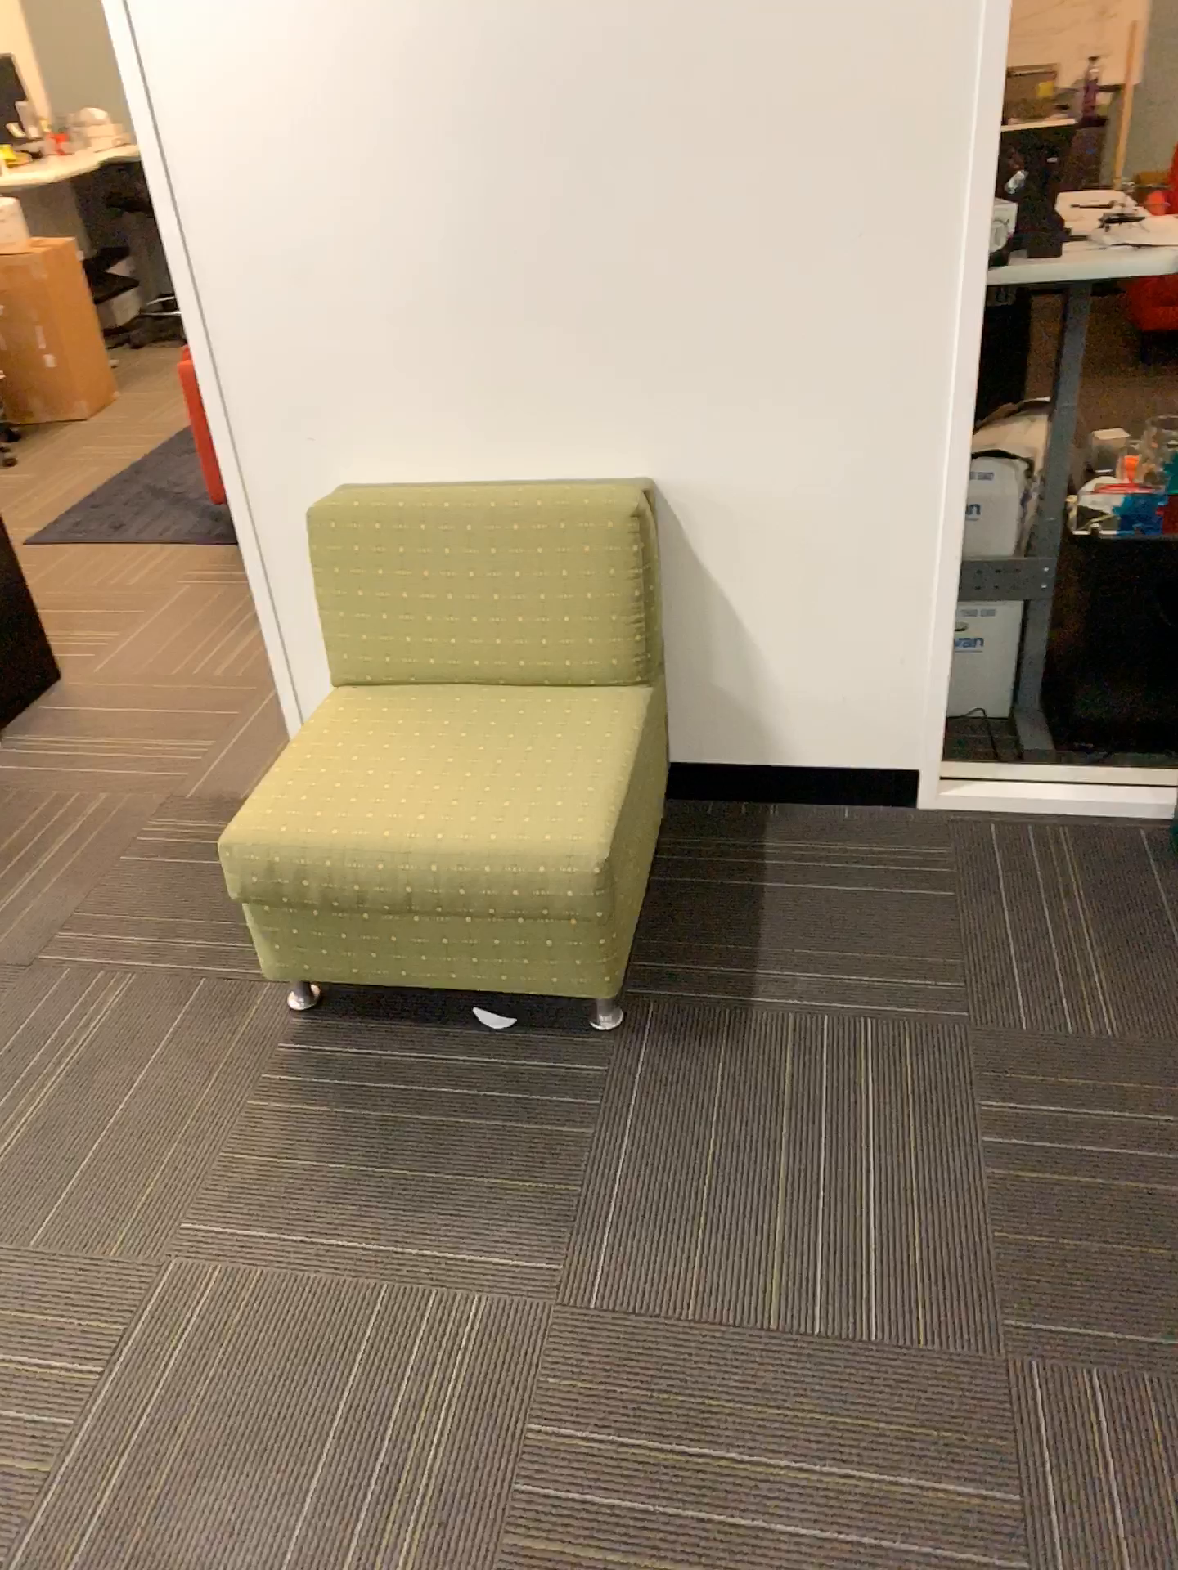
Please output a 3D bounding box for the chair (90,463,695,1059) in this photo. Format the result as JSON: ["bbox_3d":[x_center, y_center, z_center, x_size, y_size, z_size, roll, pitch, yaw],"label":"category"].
[{"bbox_3d":[-0.234,-0.084,2.092,0.731,0.686,0.784,2,34,11],"label":"chair"}]
